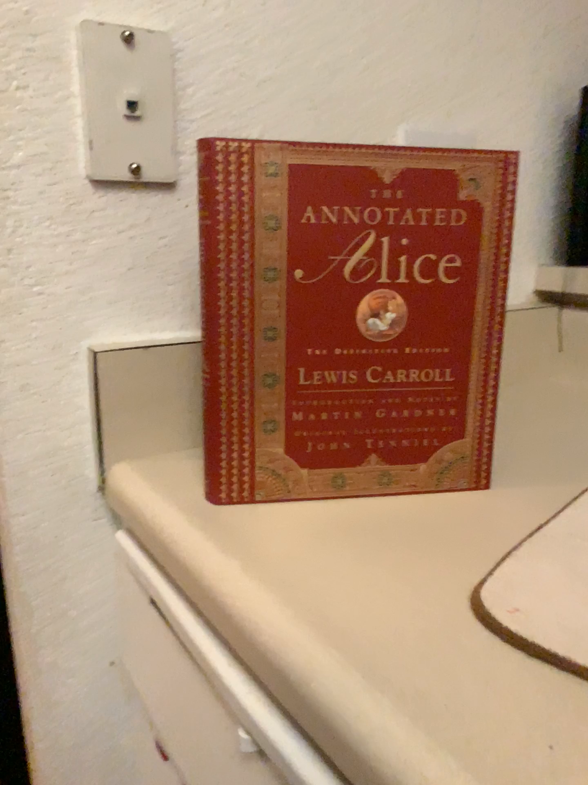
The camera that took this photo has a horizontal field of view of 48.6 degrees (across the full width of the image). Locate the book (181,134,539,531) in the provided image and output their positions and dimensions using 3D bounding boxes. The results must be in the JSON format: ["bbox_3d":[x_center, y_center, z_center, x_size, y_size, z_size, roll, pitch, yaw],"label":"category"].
[{"bbox_3d":[0.038,-0.055,0.523,0.230,0.260,0.150,-4,15,-15],"label":"book"}]
